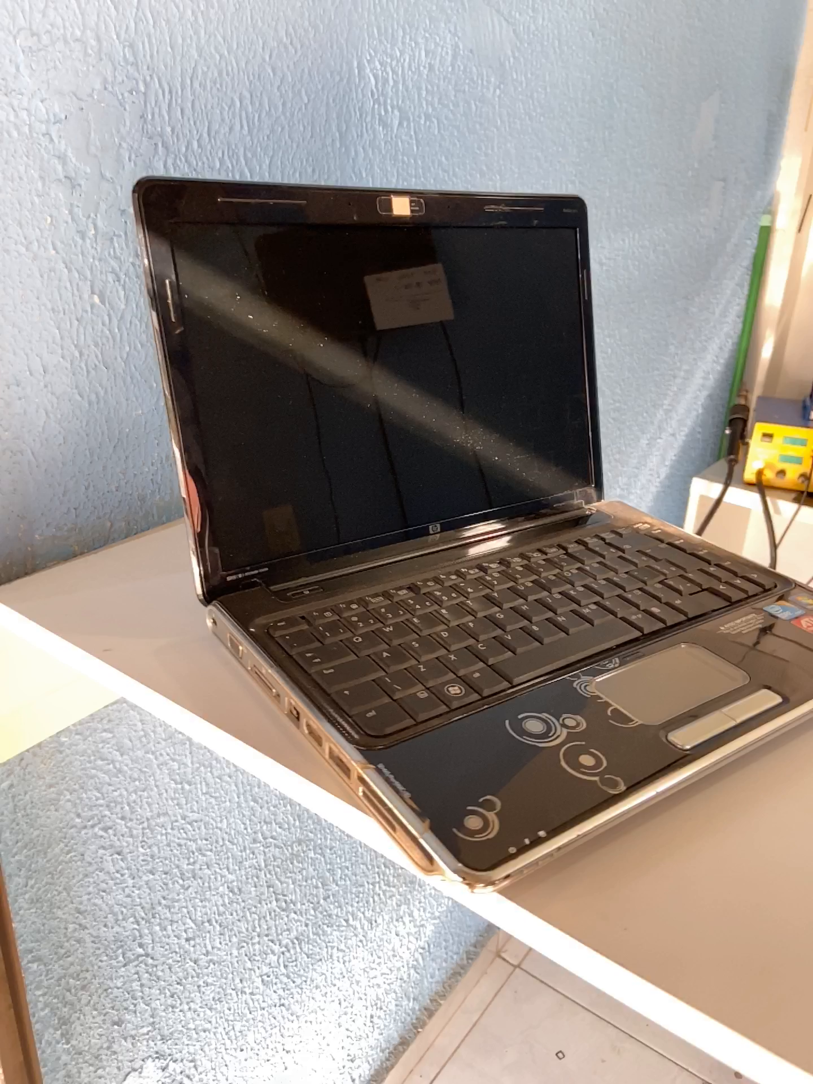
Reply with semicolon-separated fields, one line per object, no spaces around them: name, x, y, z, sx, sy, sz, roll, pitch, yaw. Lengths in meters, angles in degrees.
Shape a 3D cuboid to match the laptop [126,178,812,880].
laptop;0.069;-0.066;0.451;0.322;0.211;0.302;-13;29;-33
